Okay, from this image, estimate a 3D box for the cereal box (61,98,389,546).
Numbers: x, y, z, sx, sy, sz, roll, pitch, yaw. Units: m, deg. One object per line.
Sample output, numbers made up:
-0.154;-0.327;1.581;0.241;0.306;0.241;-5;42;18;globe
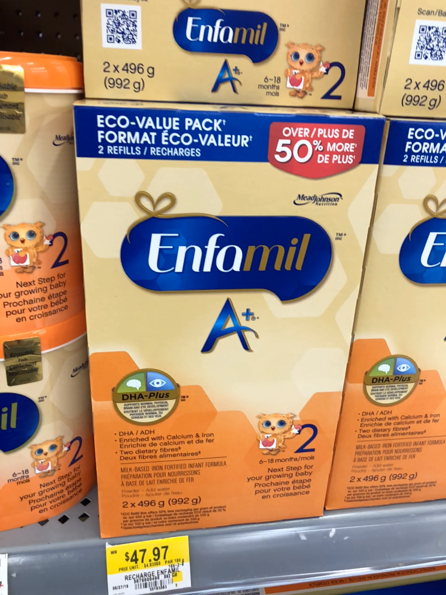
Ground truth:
-0.009;0.017;0.291;0.140;0.238;0.081;-1;23;-11;cereal box
